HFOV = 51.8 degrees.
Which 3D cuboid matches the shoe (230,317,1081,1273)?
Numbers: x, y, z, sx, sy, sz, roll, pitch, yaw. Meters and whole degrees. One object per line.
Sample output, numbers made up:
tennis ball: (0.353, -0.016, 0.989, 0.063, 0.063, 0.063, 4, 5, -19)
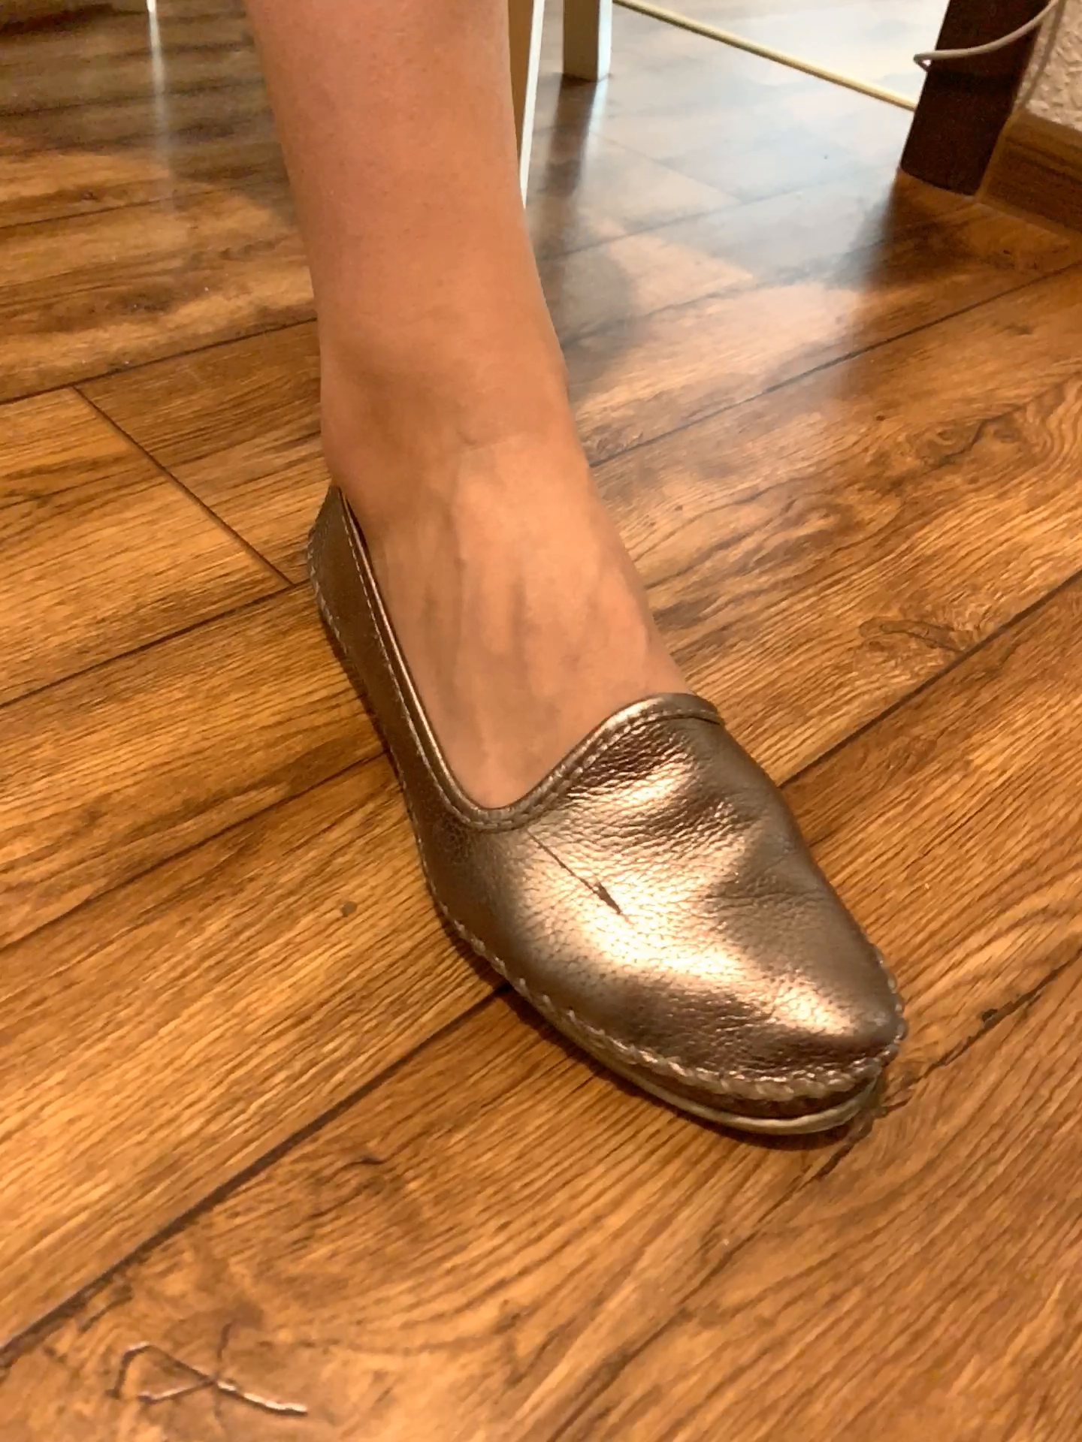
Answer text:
shoe: (0.008, -0.001, 0.288, 0.095, 0.070, 0.231, -19, 59, -24)
